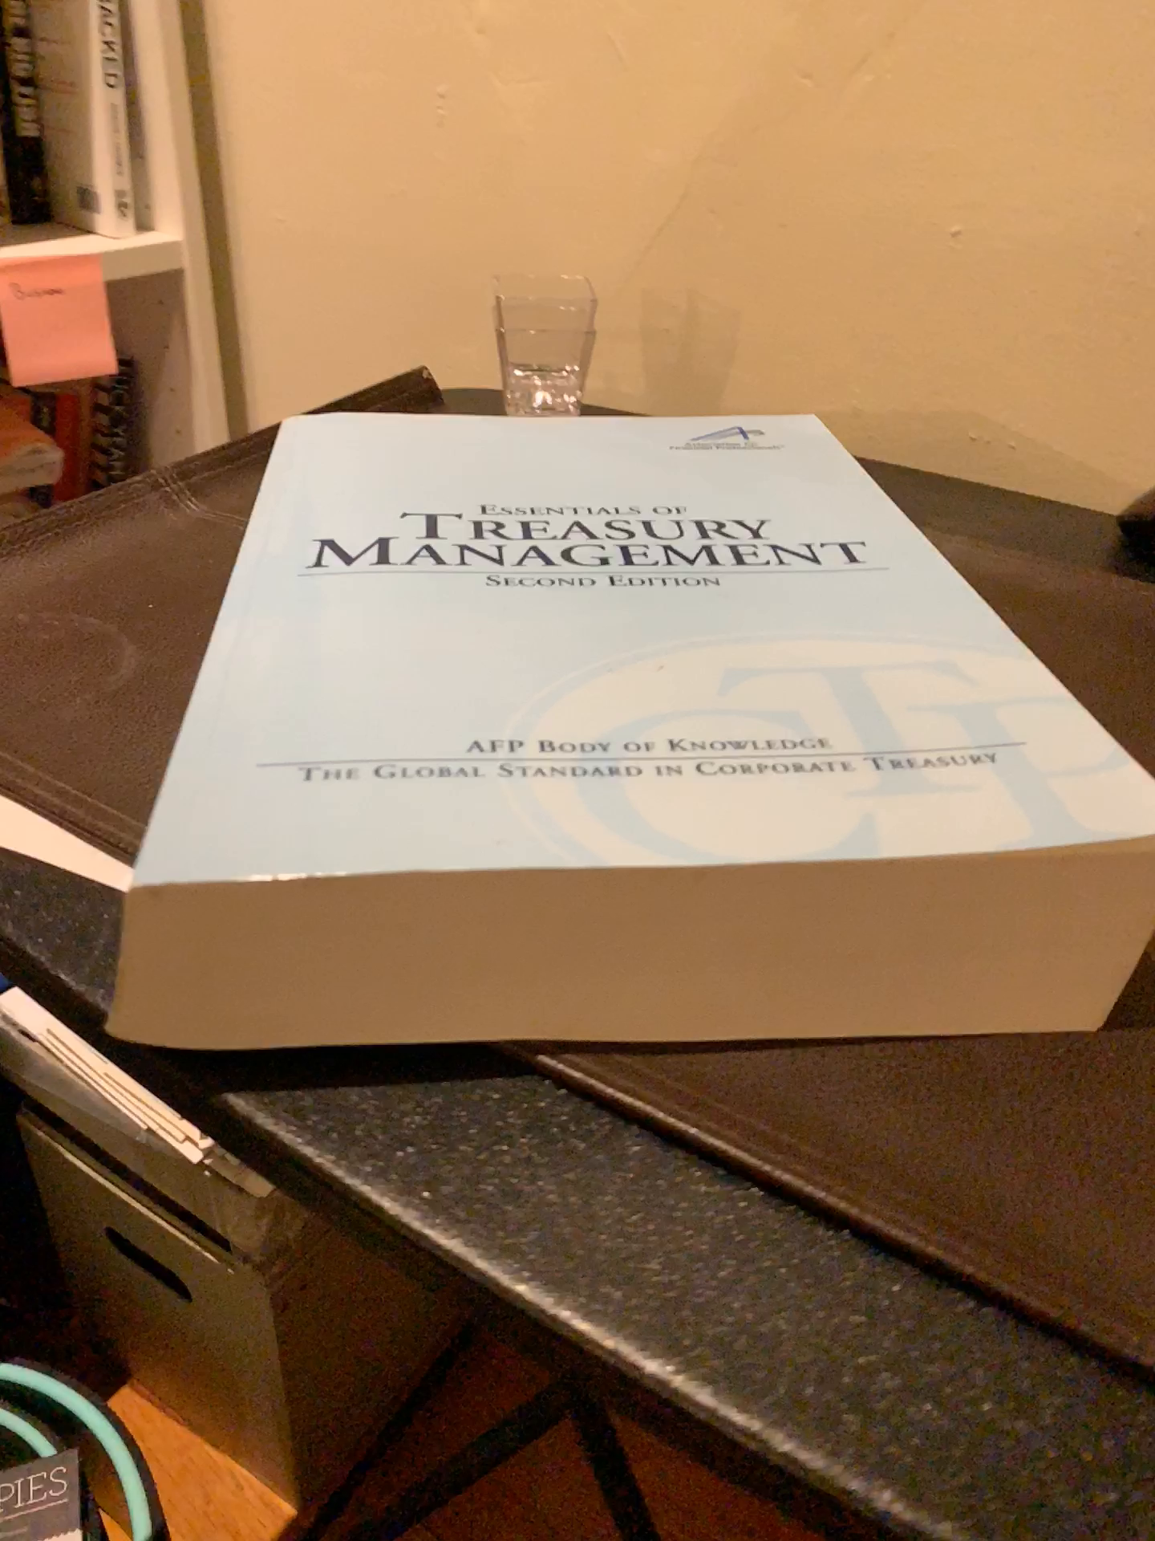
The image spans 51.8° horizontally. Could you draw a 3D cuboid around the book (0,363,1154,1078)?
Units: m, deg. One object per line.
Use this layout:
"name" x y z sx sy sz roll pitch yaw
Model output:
"book" -0.006 -0.049 0.355 0.220 0.060 0.302 -1 34 -5
